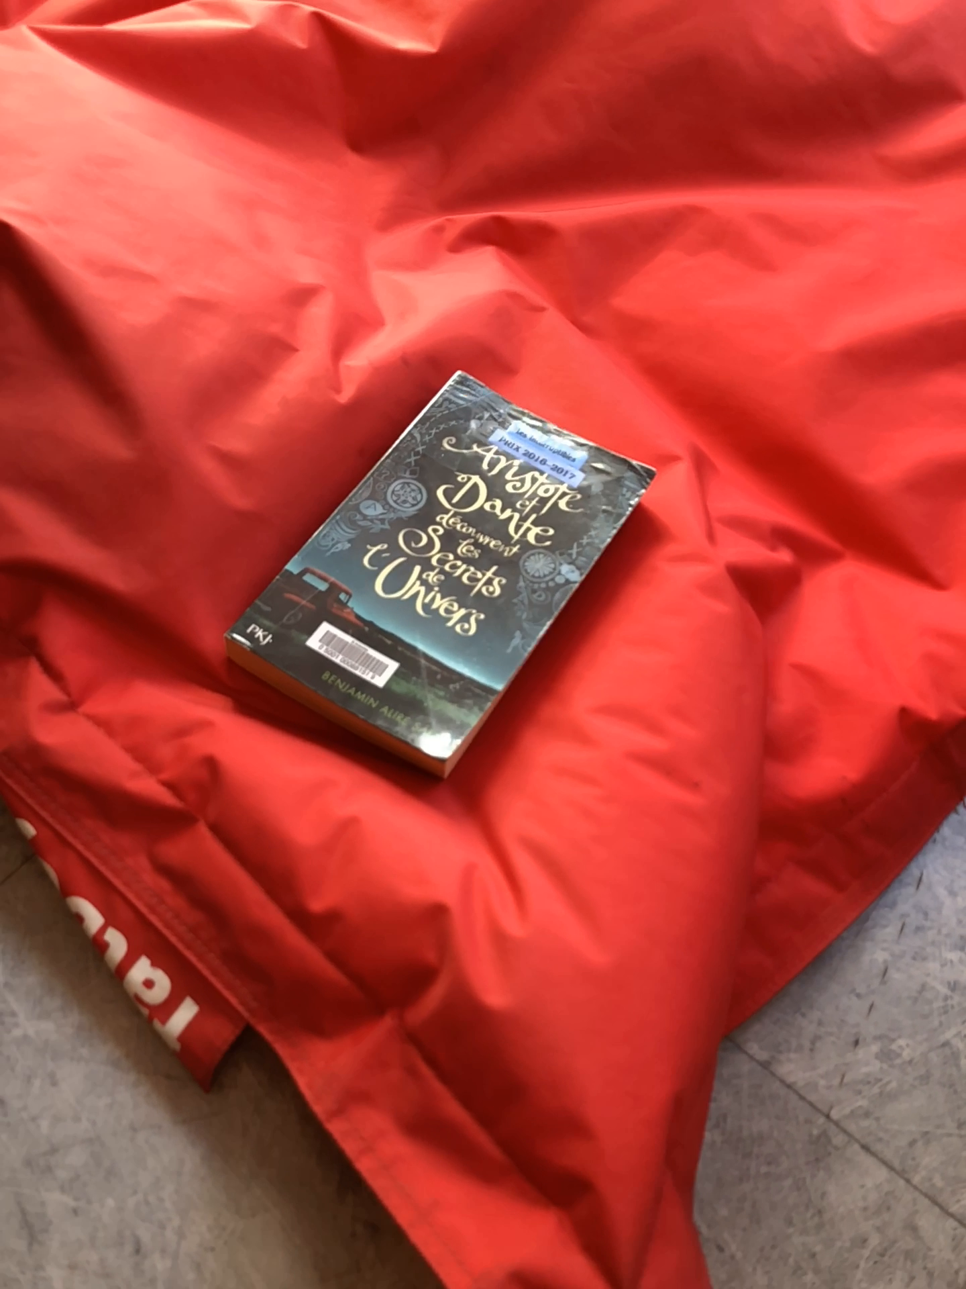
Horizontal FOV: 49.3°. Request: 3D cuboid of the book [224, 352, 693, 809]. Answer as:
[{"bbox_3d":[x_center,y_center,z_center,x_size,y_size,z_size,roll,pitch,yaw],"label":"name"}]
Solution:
[{"bbox_3d":[-0.007,-0.046,0.584,0.148,0.048,0.229,29,64,16],"label":"book"}]
